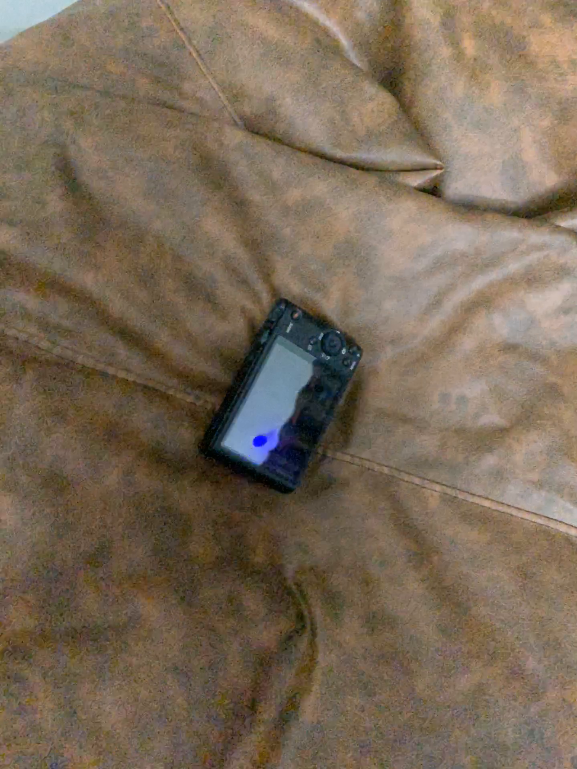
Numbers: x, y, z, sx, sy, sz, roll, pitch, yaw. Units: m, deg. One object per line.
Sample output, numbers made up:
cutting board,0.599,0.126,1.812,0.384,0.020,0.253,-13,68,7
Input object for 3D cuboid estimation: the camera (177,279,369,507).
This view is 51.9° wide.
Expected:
camera,-0.008,0.005,0.314,0.060,0.024,0.100,29,80,-14
